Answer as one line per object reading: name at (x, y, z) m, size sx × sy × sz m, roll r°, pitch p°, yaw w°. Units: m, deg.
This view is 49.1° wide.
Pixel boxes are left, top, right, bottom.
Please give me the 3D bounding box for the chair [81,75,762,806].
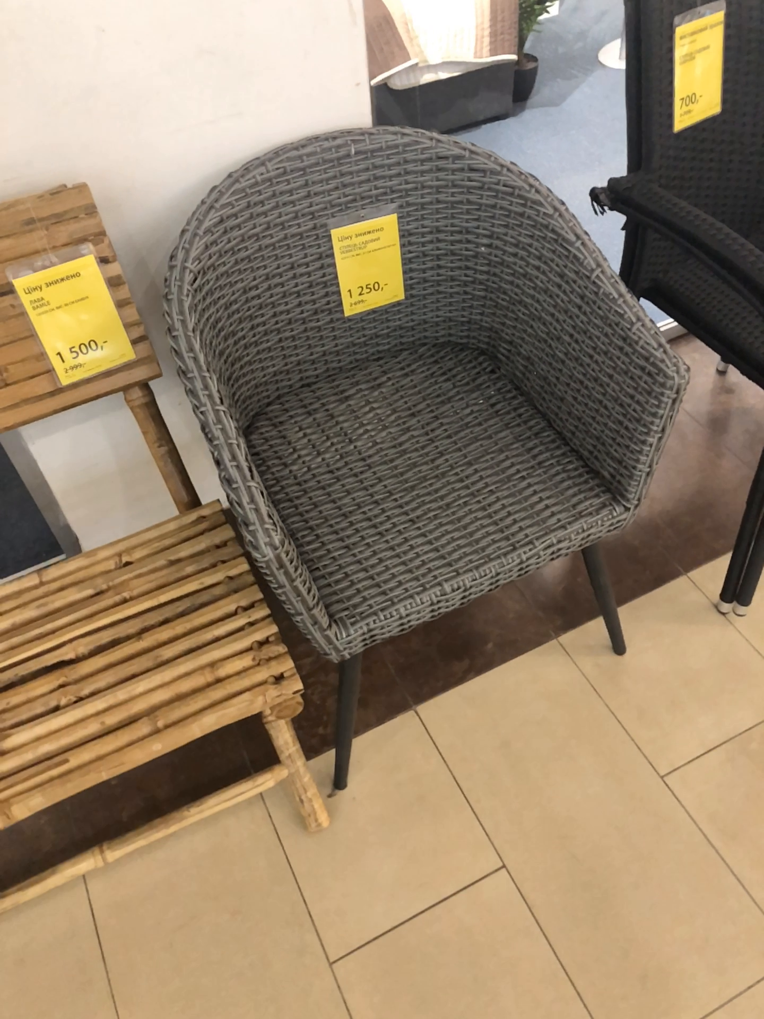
chair at (0.033, -0.079, 1.199) m, size 0.570 × 0.737 × 0.522 m, roll -23°, pitch 51°, yaw -15°
